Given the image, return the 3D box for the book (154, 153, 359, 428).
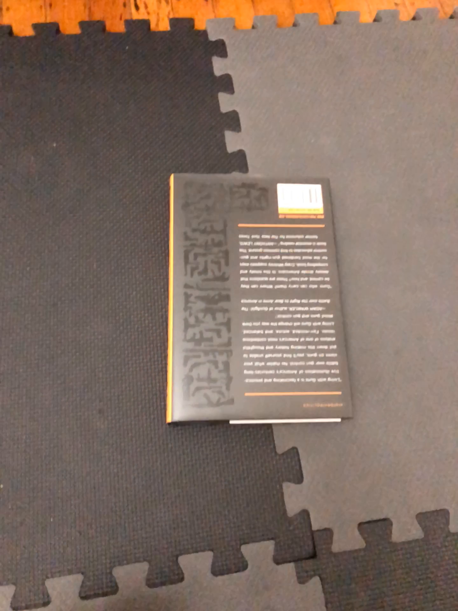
[{"bbox_3d":[0.020,-0.020,0.480,0.170,0.040,0.261,0,70,-4],"label":"book"}]
